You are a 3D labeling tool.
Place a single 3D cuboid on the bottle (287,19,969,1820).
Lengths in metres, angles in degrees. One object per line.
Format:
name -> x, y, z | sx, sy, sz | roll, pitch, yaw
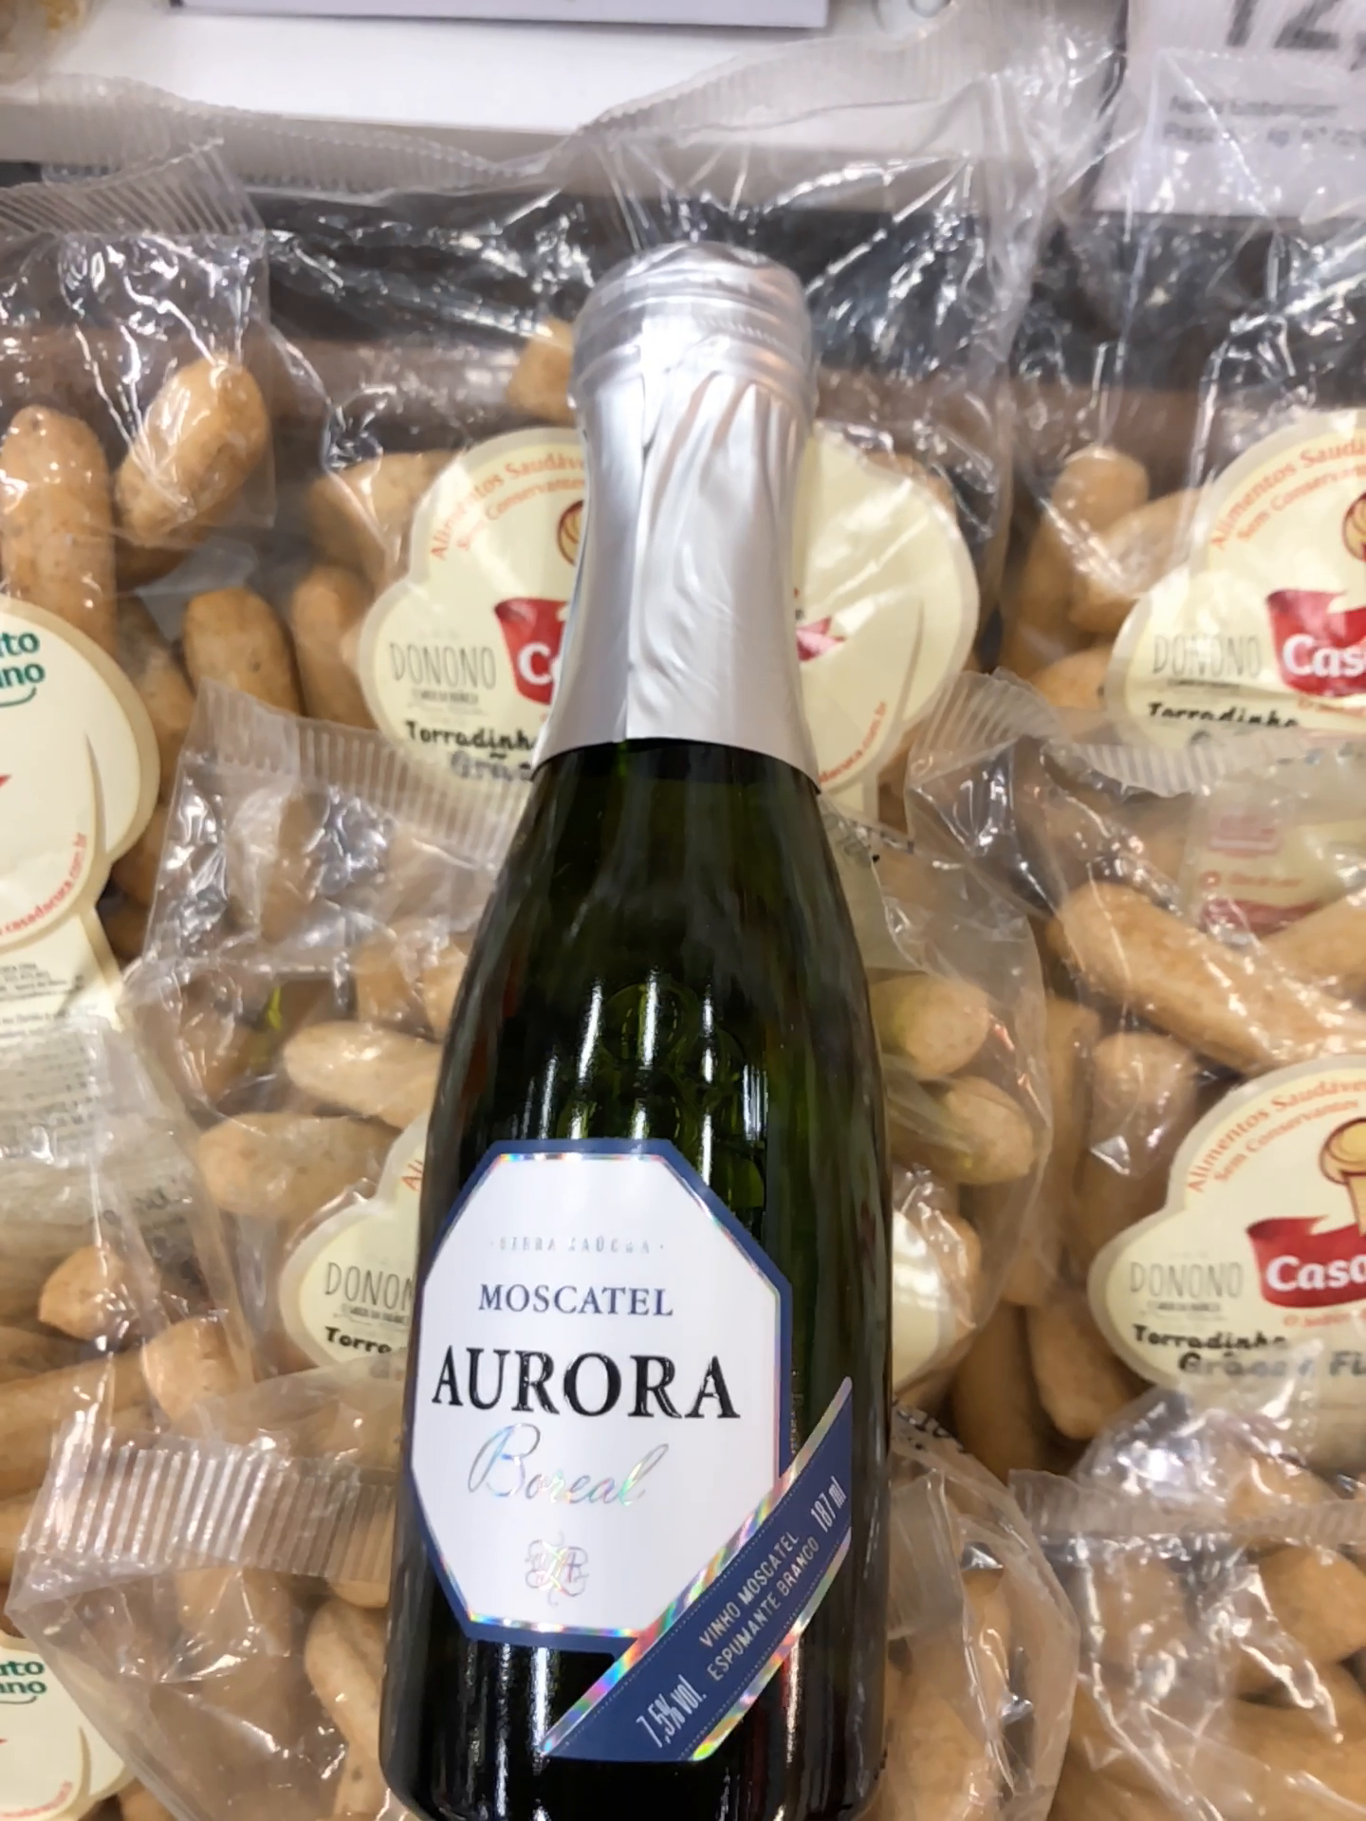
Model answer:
bottle -> -0.003, 0.006, 0.180 | 0.060, 0.050, 0.200 | 2, 82, -1
